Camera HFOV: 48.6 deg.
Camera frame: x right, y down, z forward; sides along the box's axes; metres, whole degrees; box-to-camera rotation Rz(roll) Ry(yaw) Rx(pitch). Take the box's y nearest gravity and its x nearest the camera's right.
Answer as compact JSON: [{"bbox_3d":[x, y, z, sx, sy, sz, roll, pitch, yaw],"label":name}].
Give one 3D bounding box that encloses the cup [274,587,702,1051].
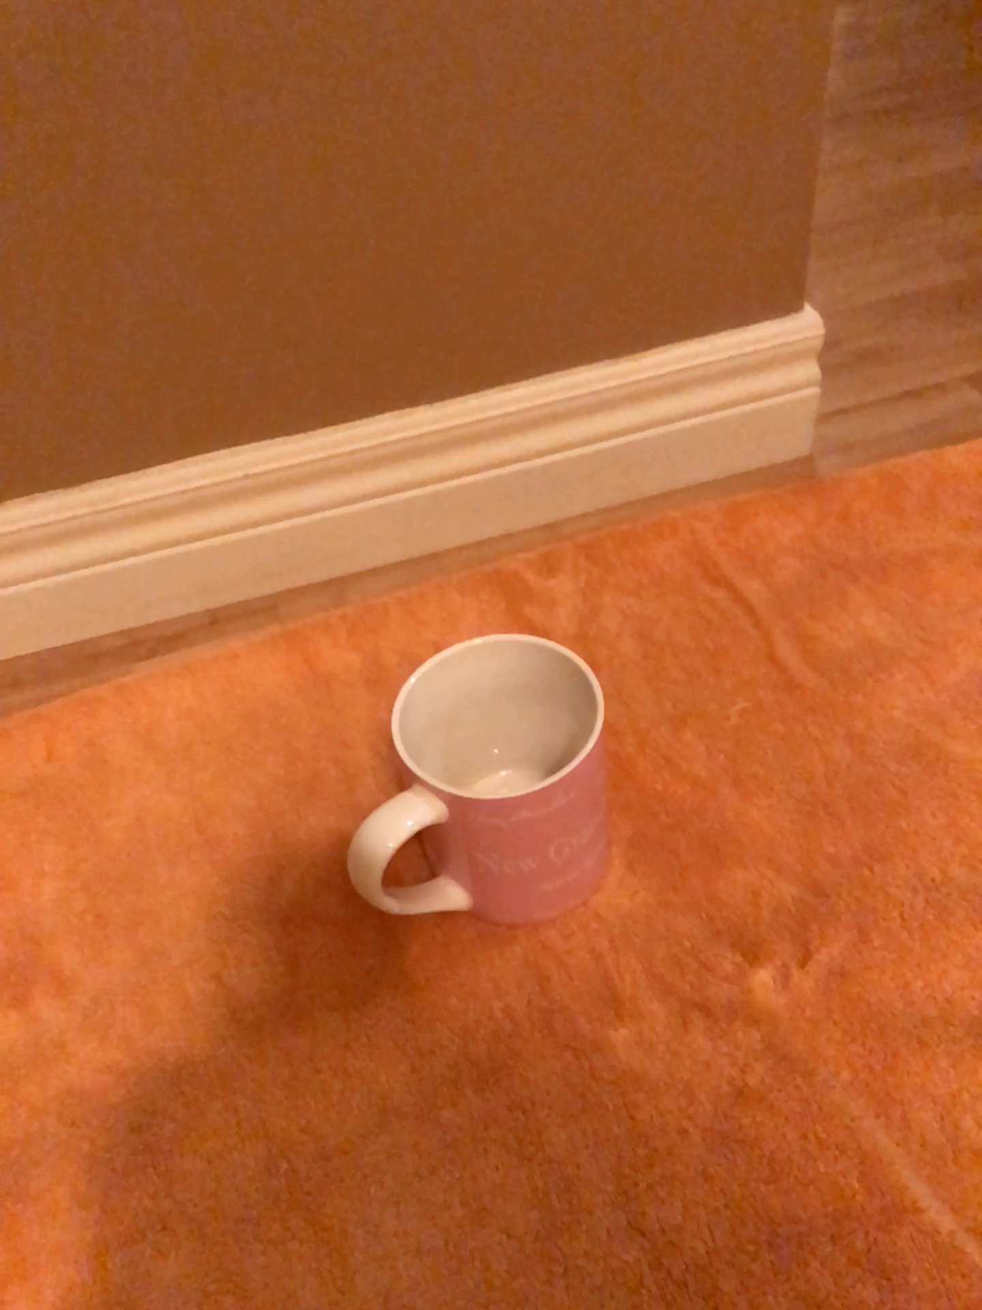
[{"bbox_3d":[0.003,0.069,0.488,0.140,0.110,0.110,-31,49,-21],"label":"cup"}]
